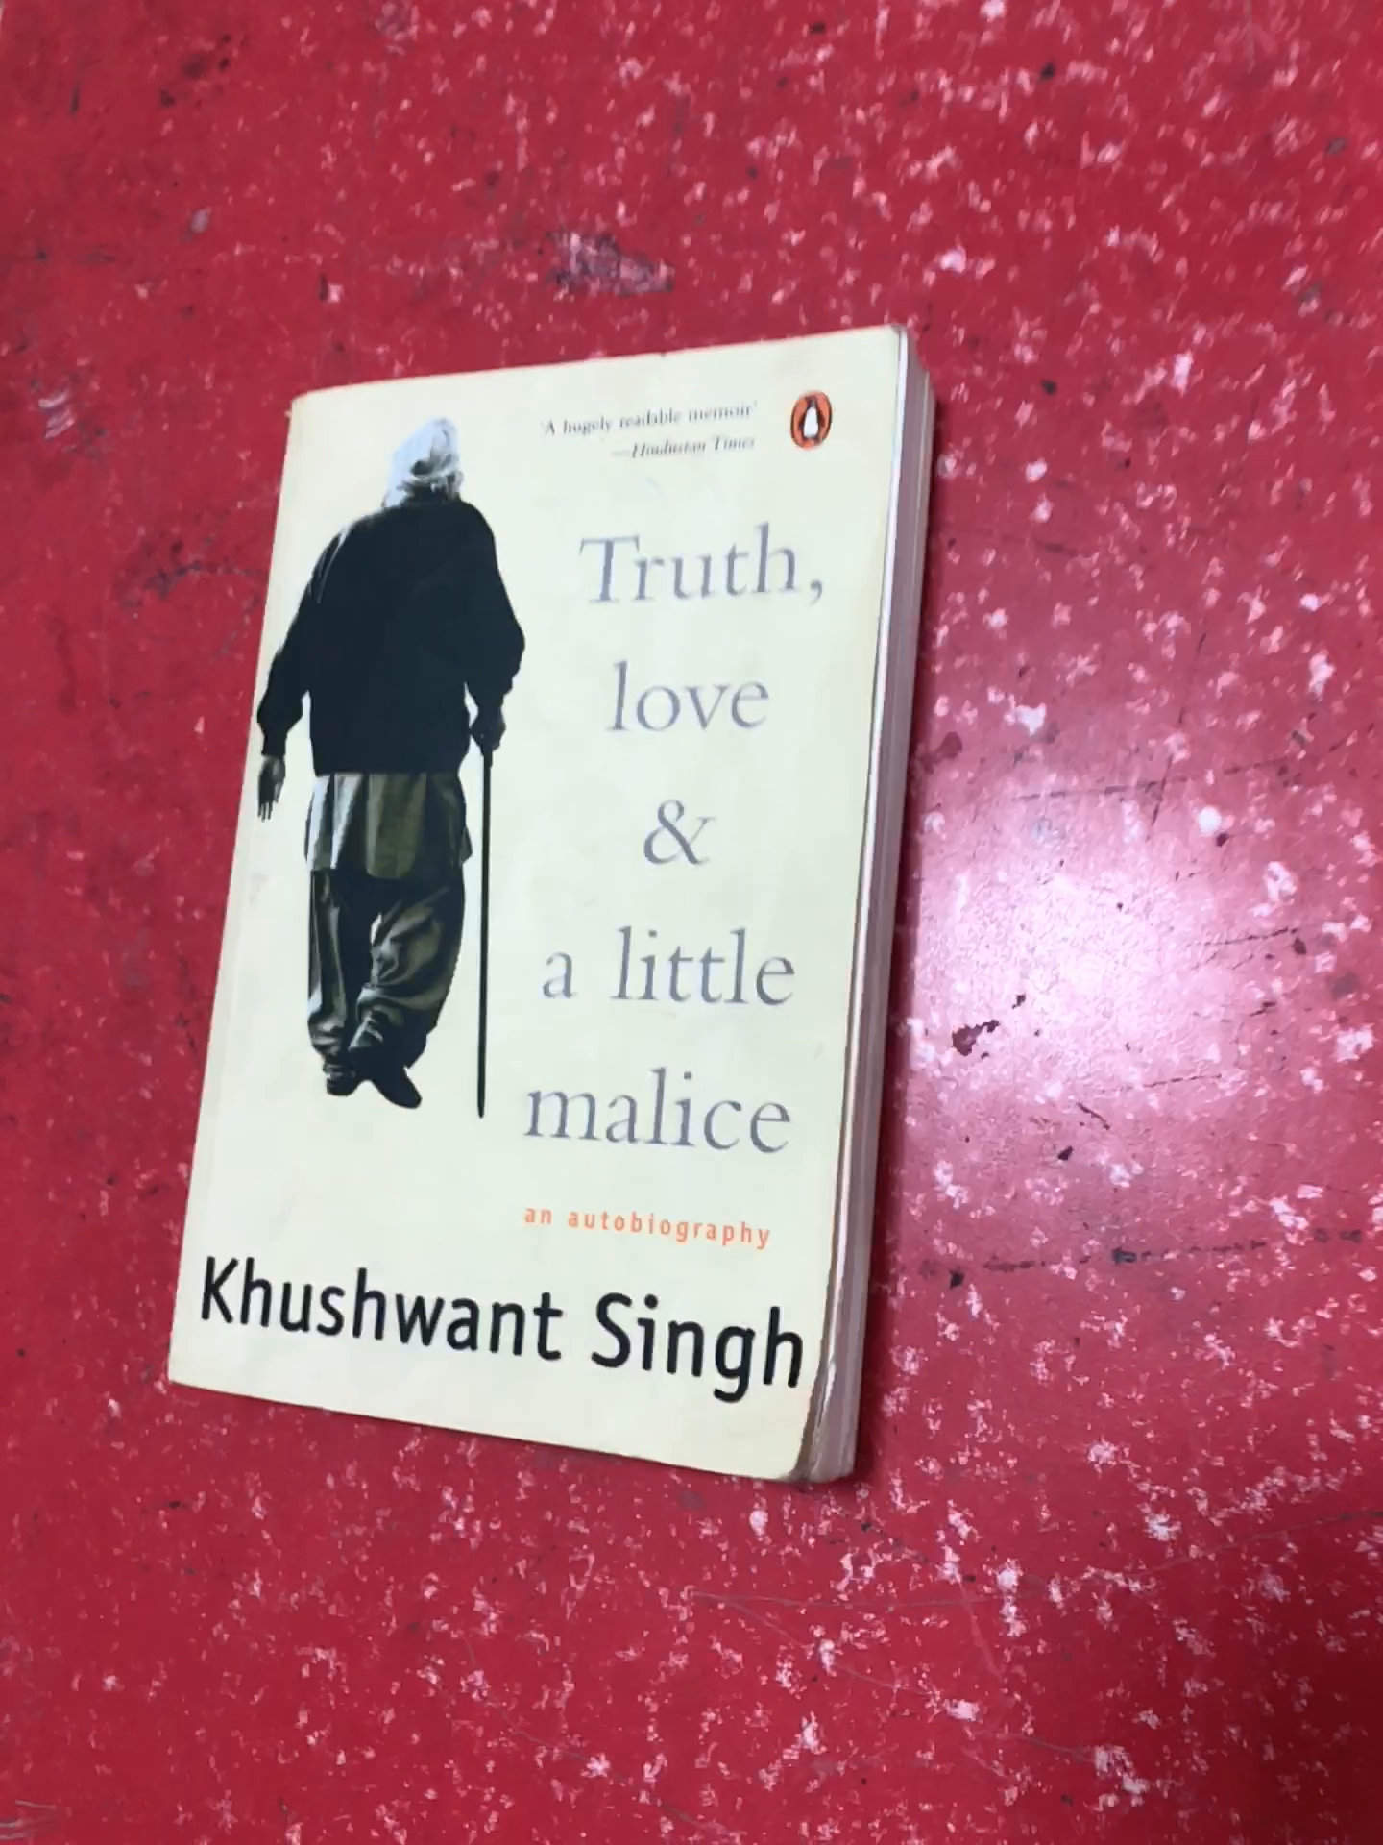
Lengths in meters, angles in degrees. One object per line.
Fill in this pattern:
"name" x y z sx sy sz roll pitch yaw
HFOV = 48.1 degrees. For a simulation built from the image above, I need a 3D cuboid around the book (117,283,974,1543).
"book" -0.026 -0.006 0.298 0.140 0.040 0.210 2 80 22
